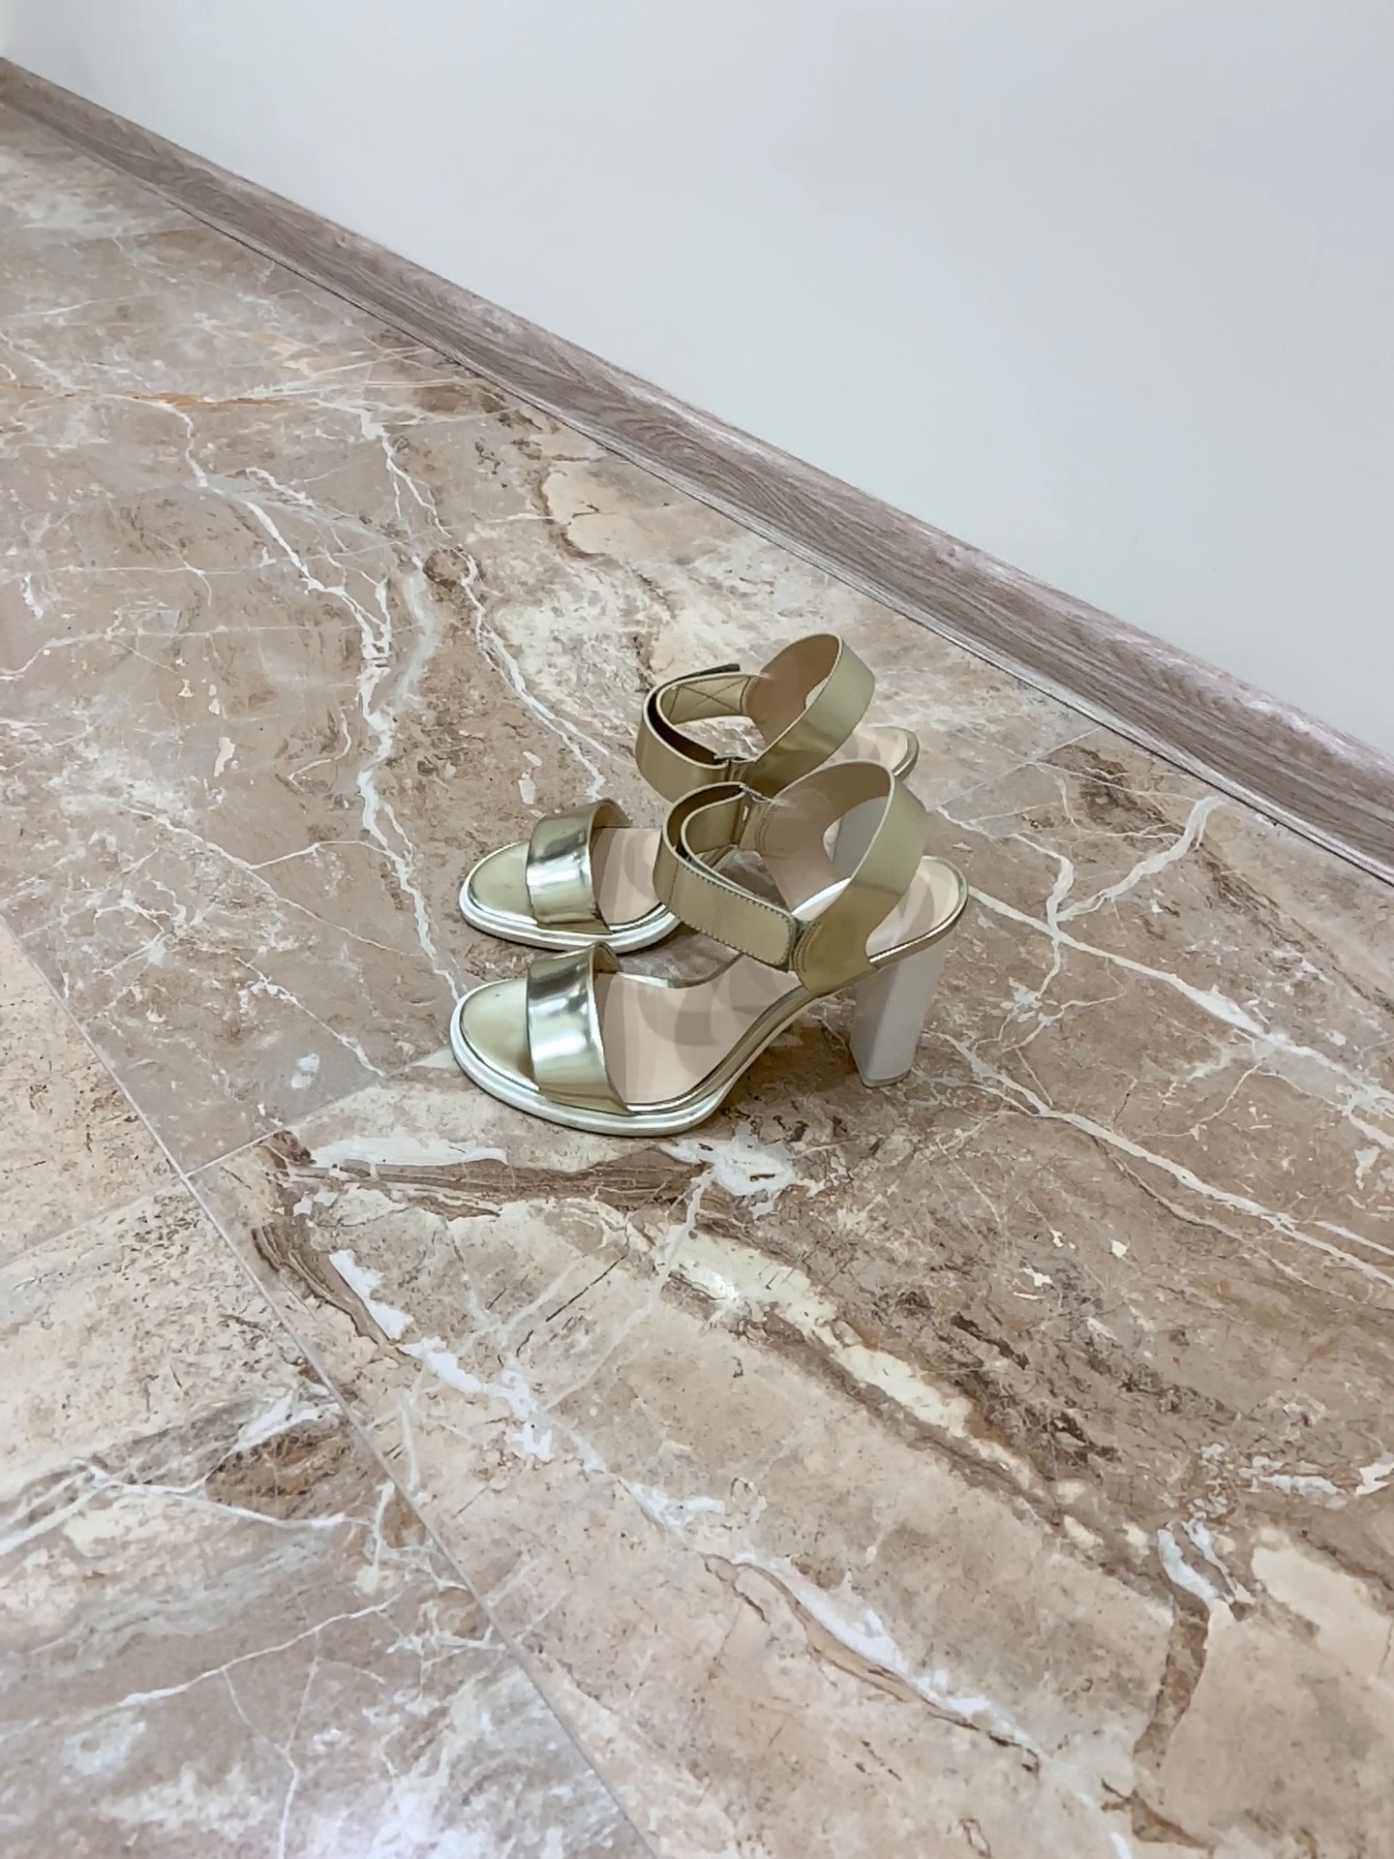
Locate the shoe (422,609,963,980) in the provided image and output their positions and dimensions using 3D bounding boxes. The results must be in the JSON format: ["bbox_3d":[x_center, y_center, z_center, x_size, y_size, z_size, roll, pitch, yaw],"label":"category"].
[{"bbox_3d":[-0.006,-0.061,0.657,0.220,0.129,0.096,2,40,-4],"label":"shoe"}]

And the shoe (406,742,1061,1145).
[{"bbox_3d":[0.009,0.007,0.575,0.230,0.119,0.101,2,40,-4],"label":"shoe"}]
